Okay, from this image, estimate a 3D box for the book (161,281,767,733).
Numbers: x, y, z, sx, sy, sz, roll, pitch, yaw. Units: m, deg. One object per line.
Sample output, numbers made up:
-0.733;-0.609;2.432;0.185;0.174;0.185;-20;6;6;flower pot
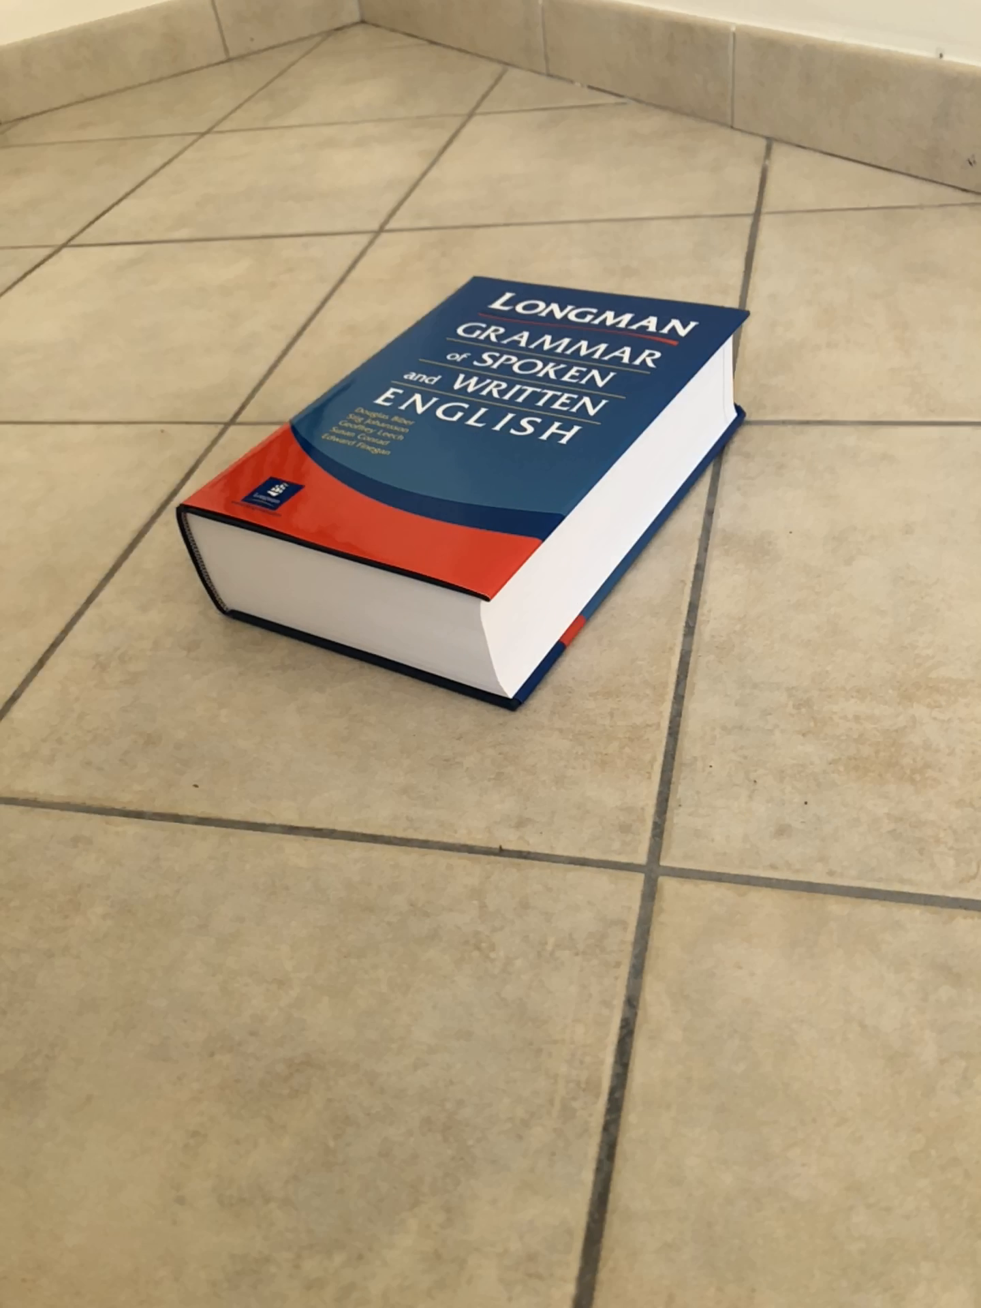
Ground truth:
0.001;-0.091;0.522;0.177;0.060;0.252;17;48;29;book
